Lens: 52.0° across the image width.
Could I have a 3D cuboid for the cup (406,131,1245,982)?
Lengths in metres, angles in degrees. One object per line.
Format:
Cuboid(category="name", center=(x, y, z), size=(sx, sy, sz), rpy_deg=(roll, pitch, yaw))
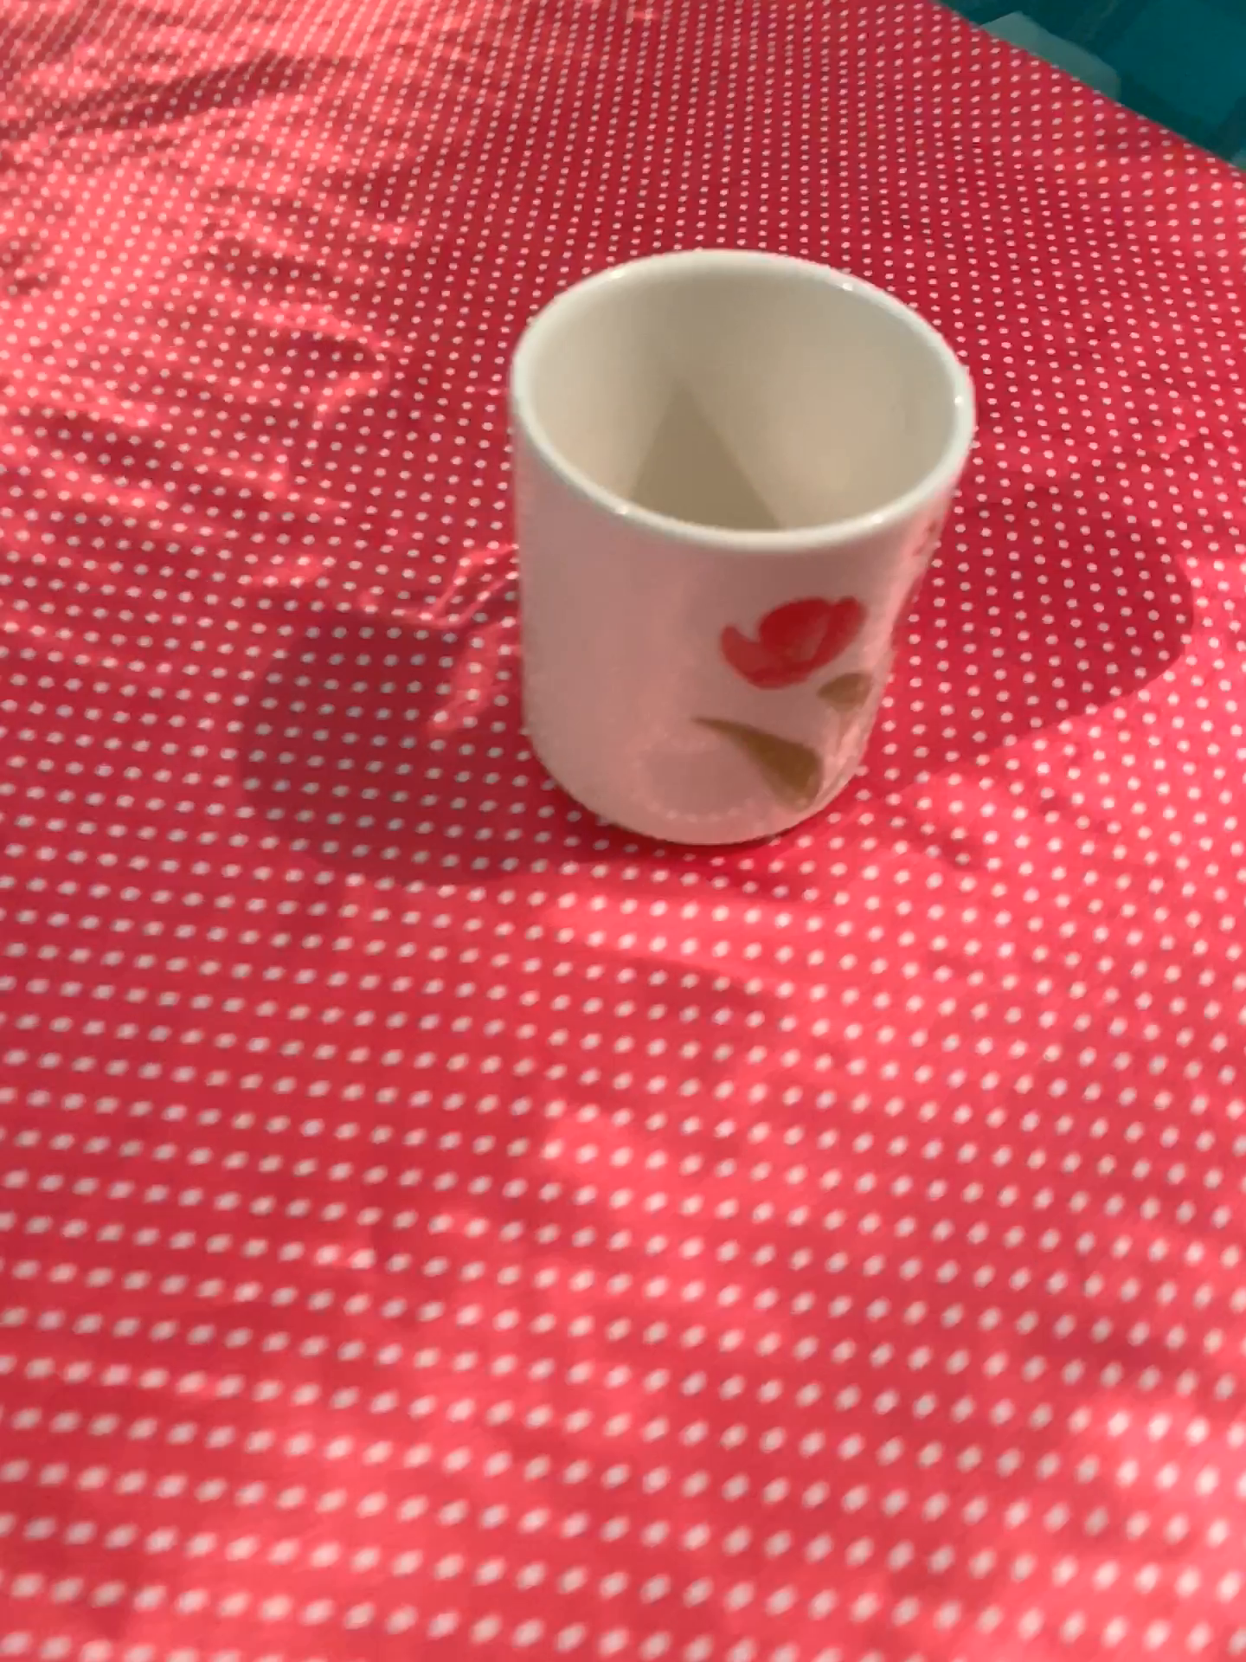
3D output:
Cuboid(category="cup", center=(0.036, -0.057, 0.256), size=(0.090, 0.090, 0.120), rpy_deg=(40, 62, 21))
